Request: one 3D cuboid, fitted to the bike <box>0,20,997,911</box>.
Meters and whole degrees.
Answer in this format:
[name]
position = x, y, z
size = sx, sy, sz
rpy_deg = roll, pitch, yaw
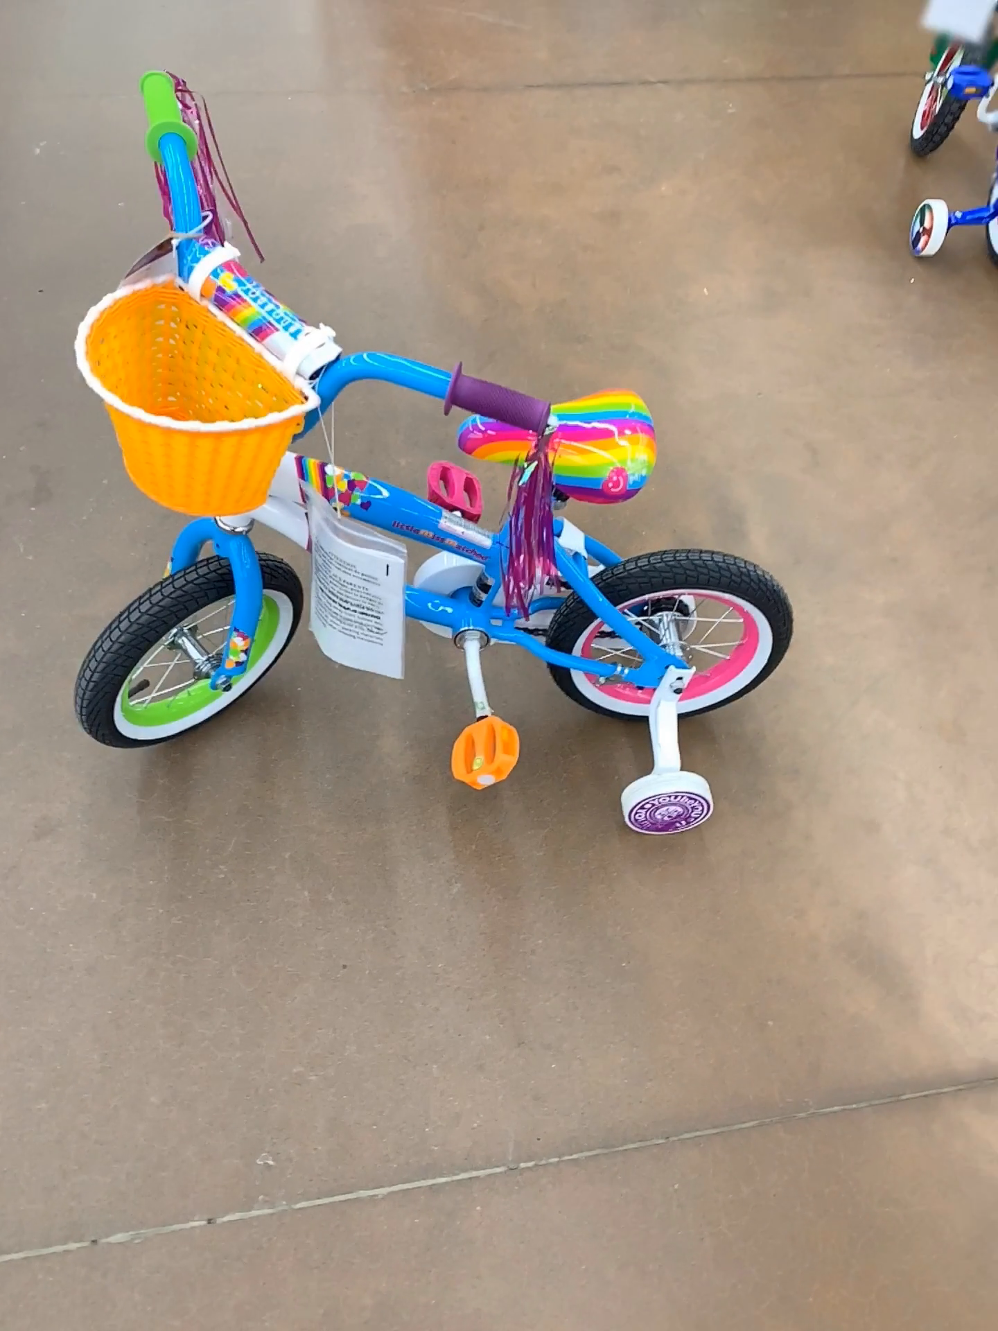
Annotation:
[bike]
position = -0.055, -0.194, 1.081
size = 0.815, 0.664, 0.554
rpy_deg = -7, 51, -12
